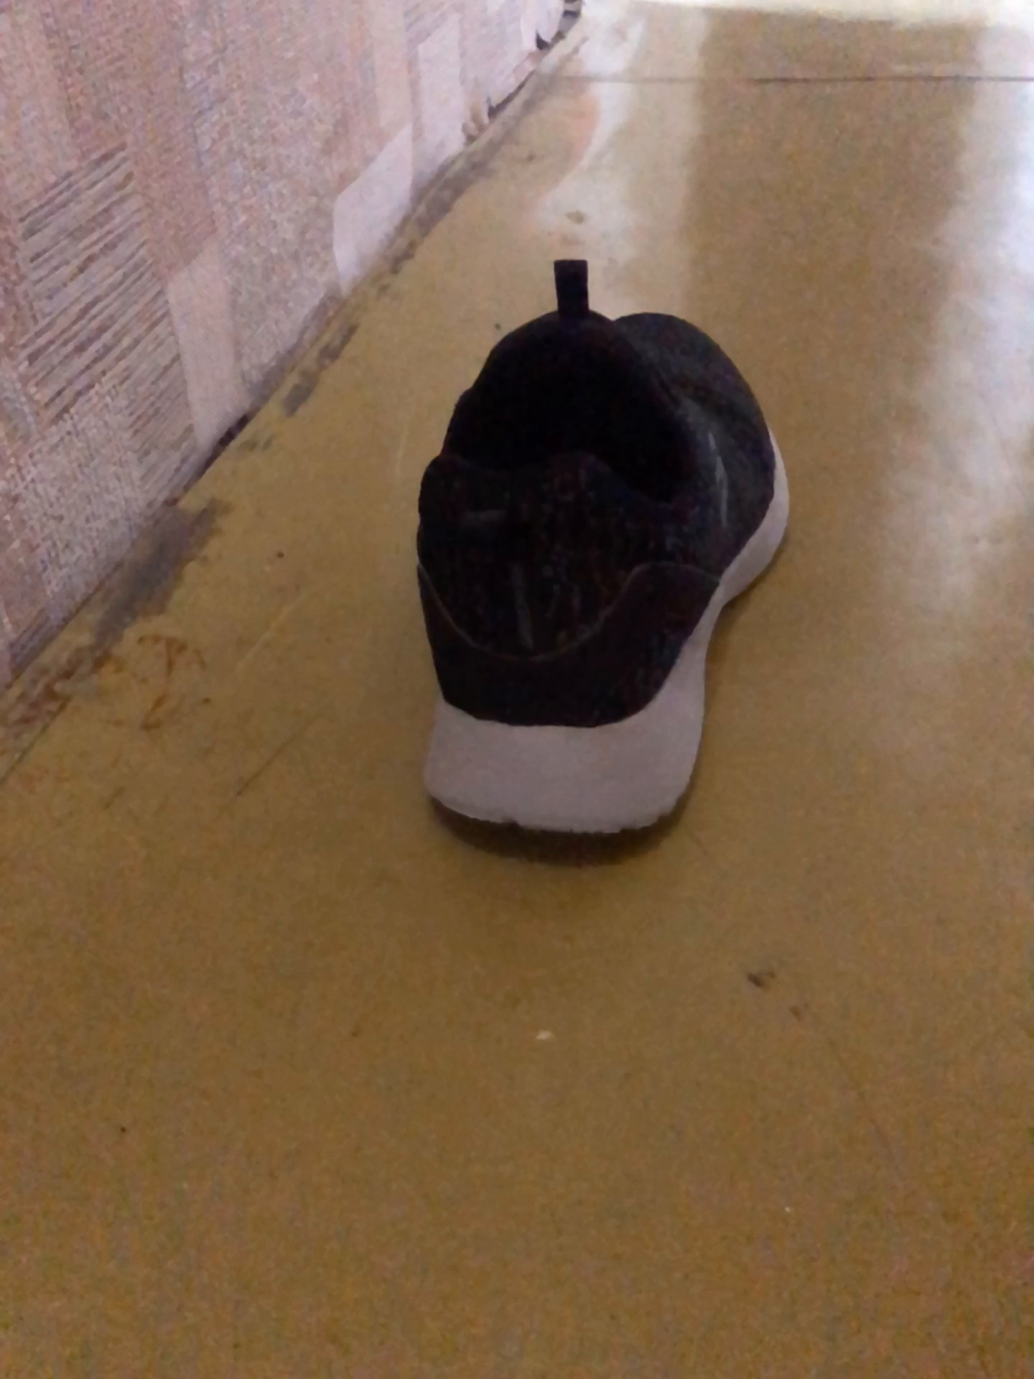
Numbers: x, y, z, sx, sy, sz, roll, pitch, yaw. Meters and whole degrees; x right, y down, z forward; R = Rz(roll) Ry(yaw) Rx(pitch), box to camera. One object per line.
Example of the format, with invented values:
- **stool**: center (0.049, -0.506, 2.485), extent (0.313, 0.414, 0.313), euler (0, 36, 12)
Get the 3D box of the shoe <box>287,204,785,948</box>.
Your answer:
- **shoe**: center (0.033, -0.074, 0.461), extent (0.120, 0.129, 0.321), euler (6, 41, 11)
